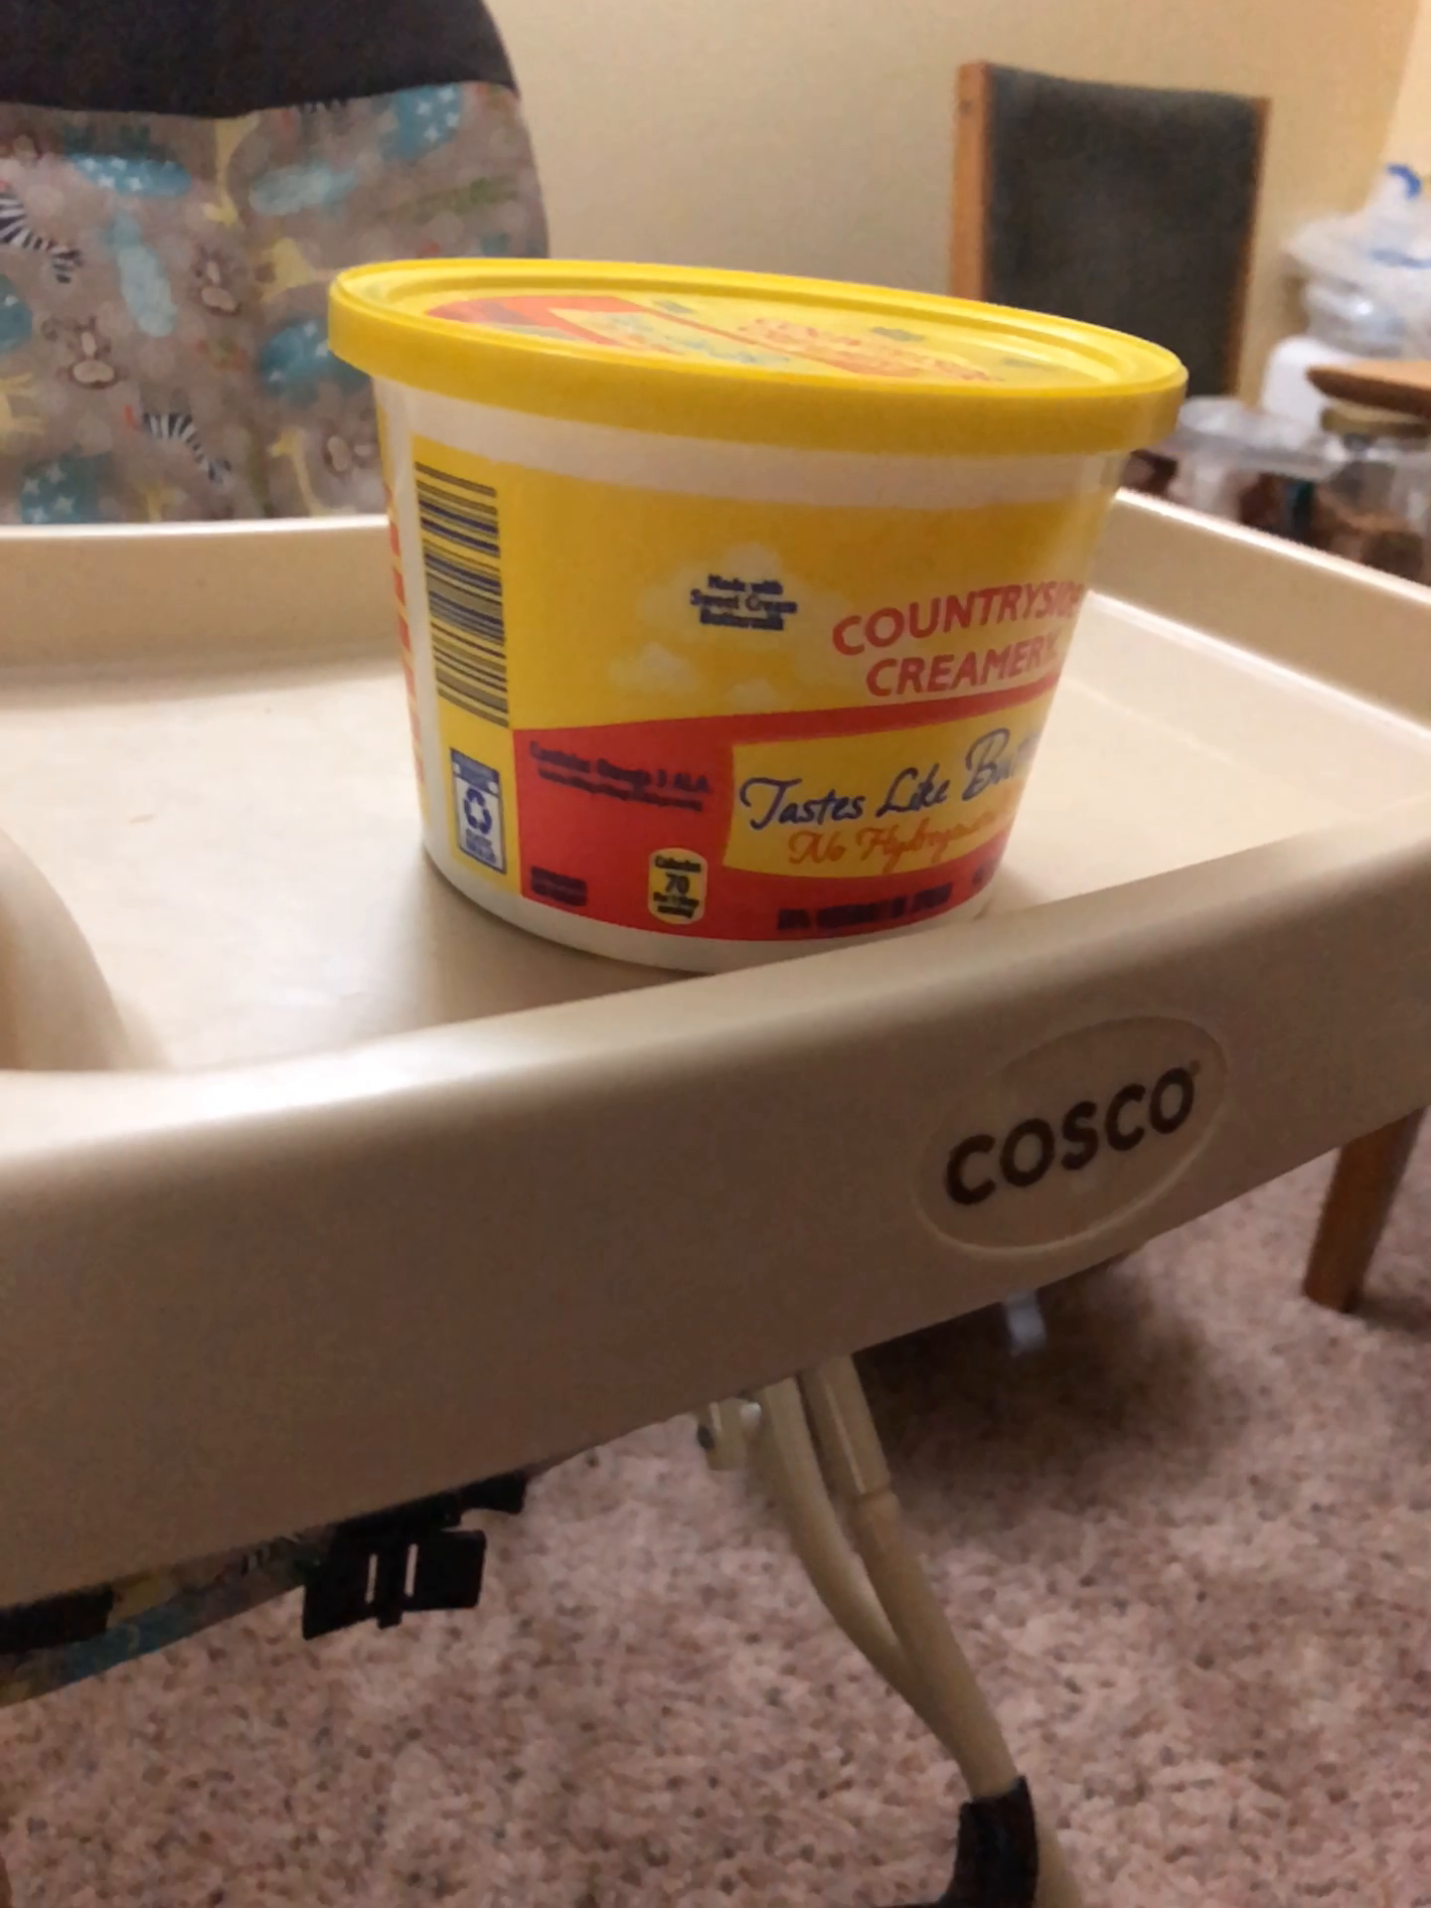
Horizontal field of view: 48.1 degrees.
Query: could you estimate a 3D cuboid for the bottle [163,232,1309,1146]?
[{"bbox_3d":[-0.005,-0.051,0.243,0.120,0.090,0.110,5,28,-3],"label":"bottle"}]
